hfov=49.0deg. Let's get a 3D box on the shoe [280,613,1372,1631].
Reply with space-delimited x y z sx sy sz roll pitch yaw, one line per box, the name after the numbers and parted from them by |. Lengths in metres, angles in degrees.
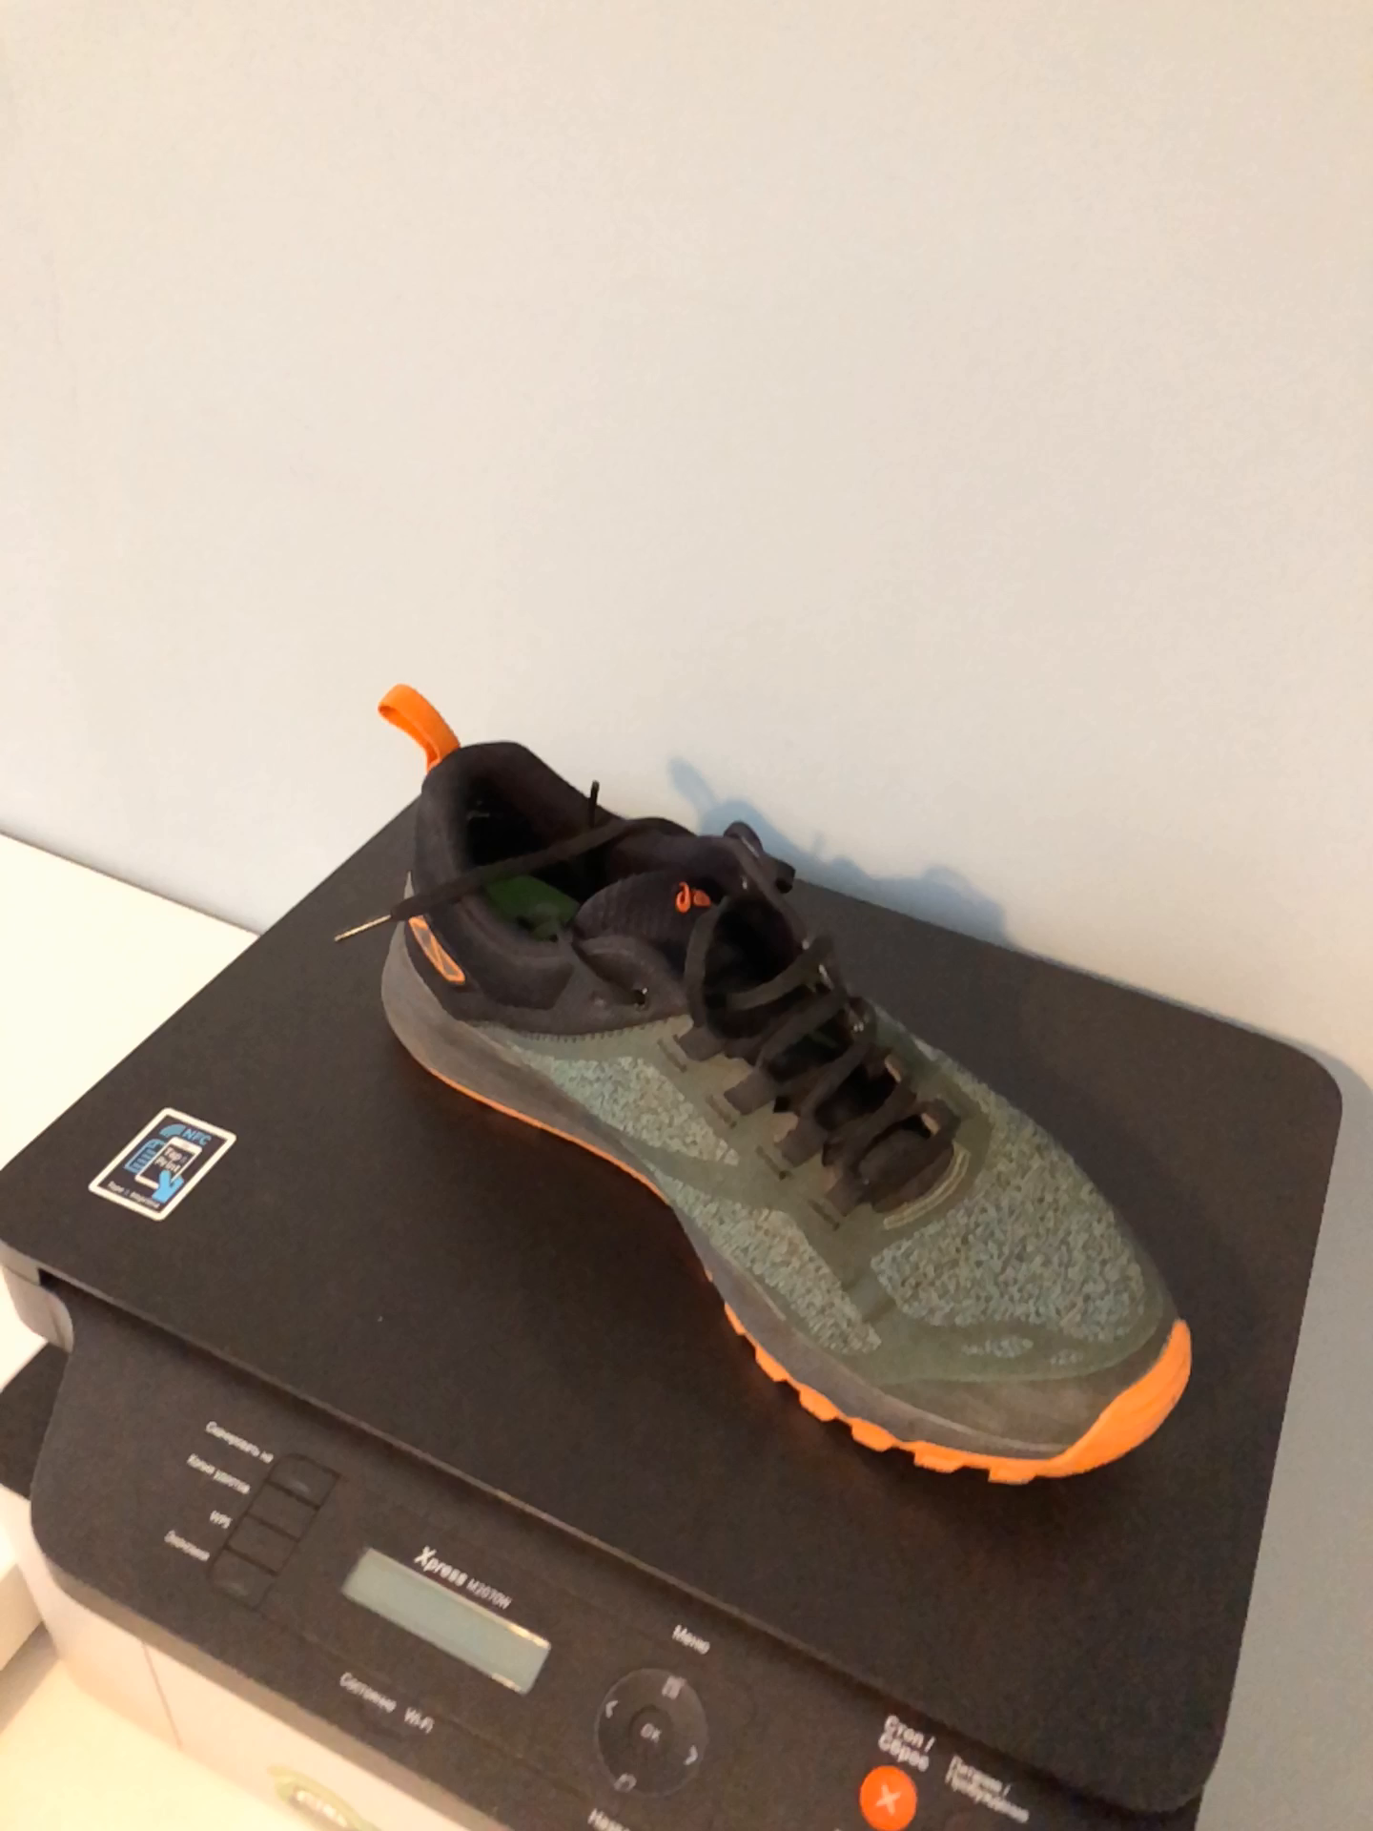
0.023 0.038 0.463 0.311 0.119 0.121 34 48 31 | shoe
